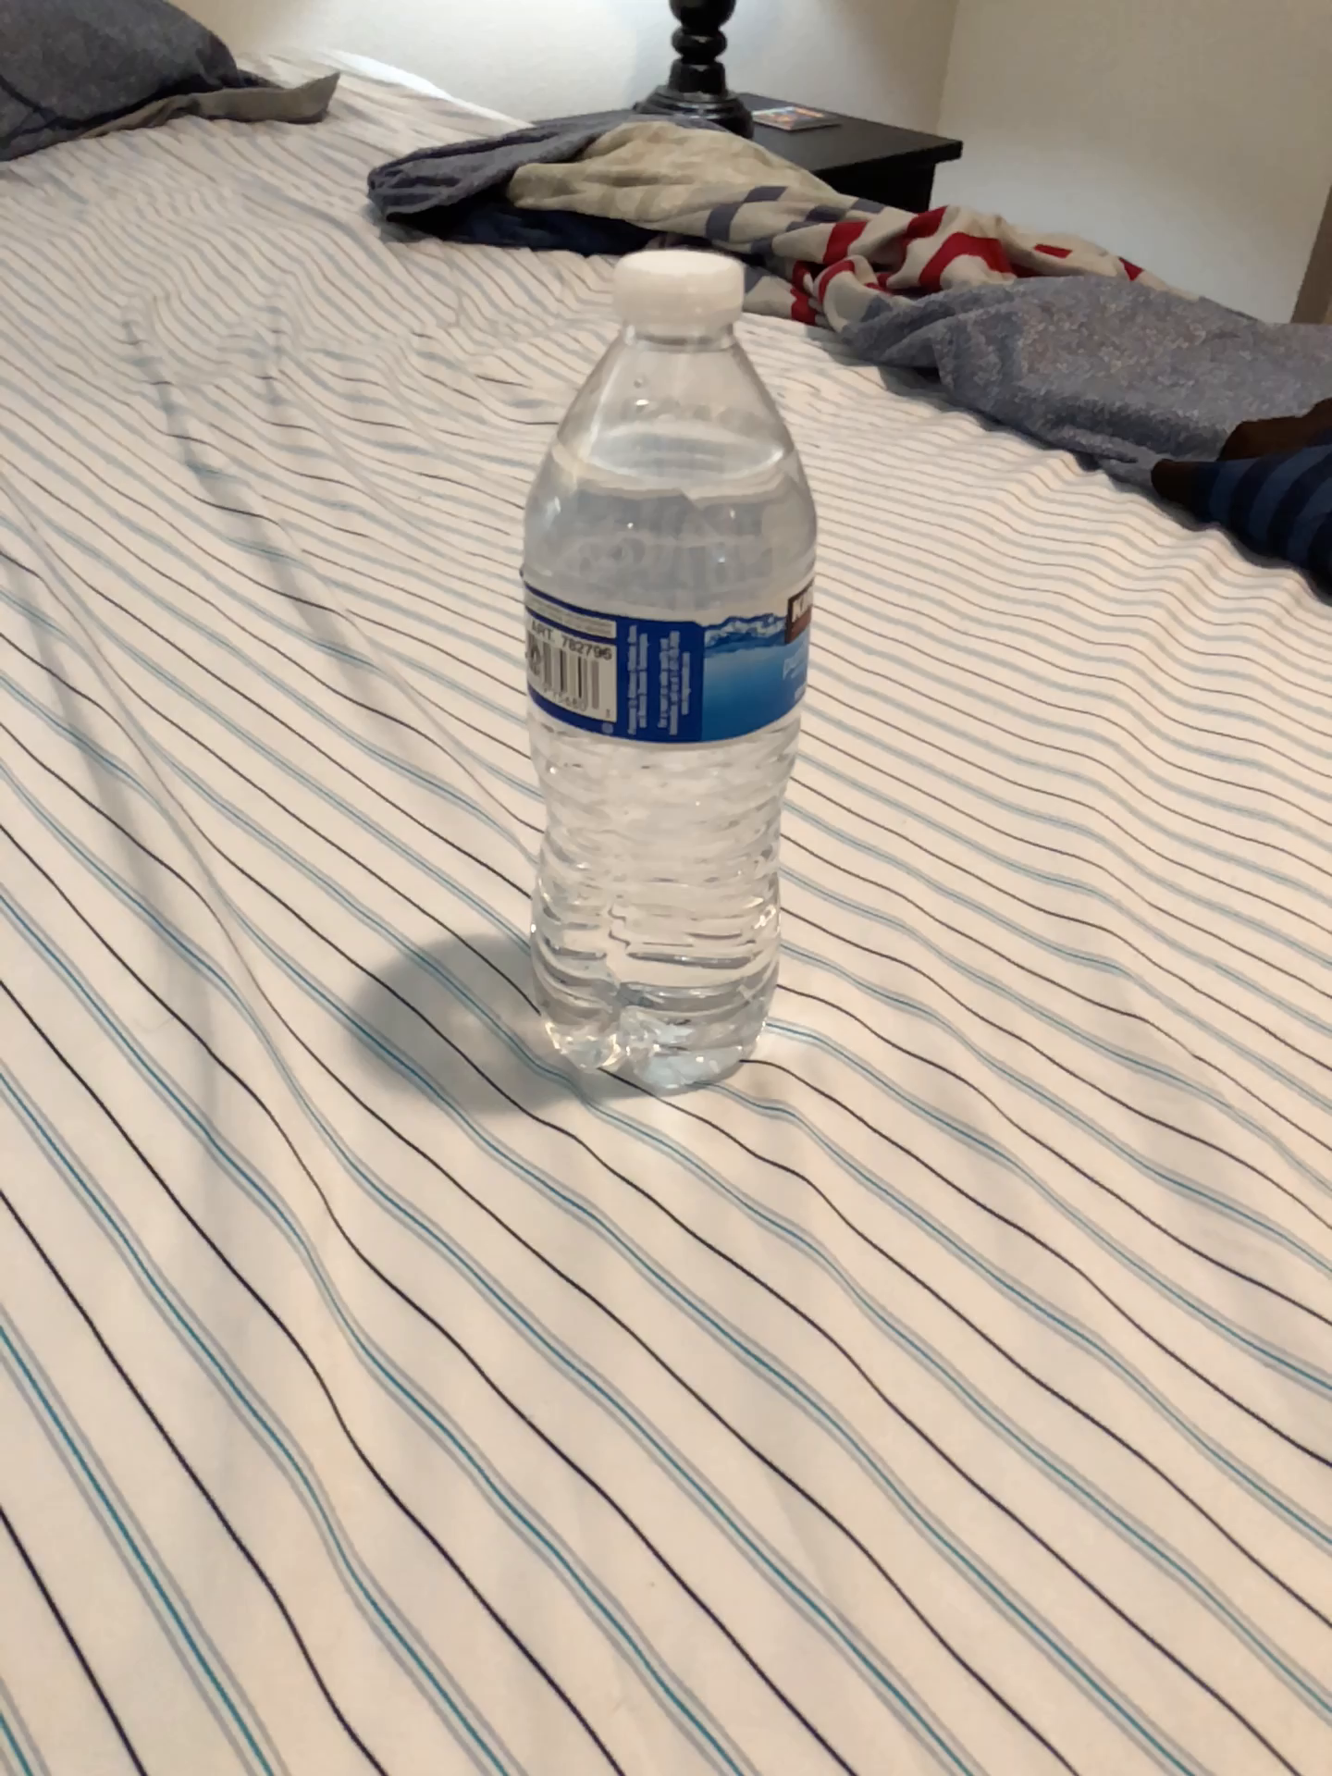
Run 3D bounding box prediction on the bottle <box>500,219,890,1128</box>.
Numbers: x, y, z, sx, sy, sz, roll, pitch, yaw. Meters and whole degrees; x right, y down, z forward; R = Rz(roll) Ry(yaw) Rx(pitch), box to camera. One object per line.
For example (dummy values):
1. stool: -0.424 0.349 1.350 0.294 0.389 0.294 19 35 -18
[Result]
1. bottle: 0.003 -0.042 0.353 0.070 0.199 0.070 3 38 -2
